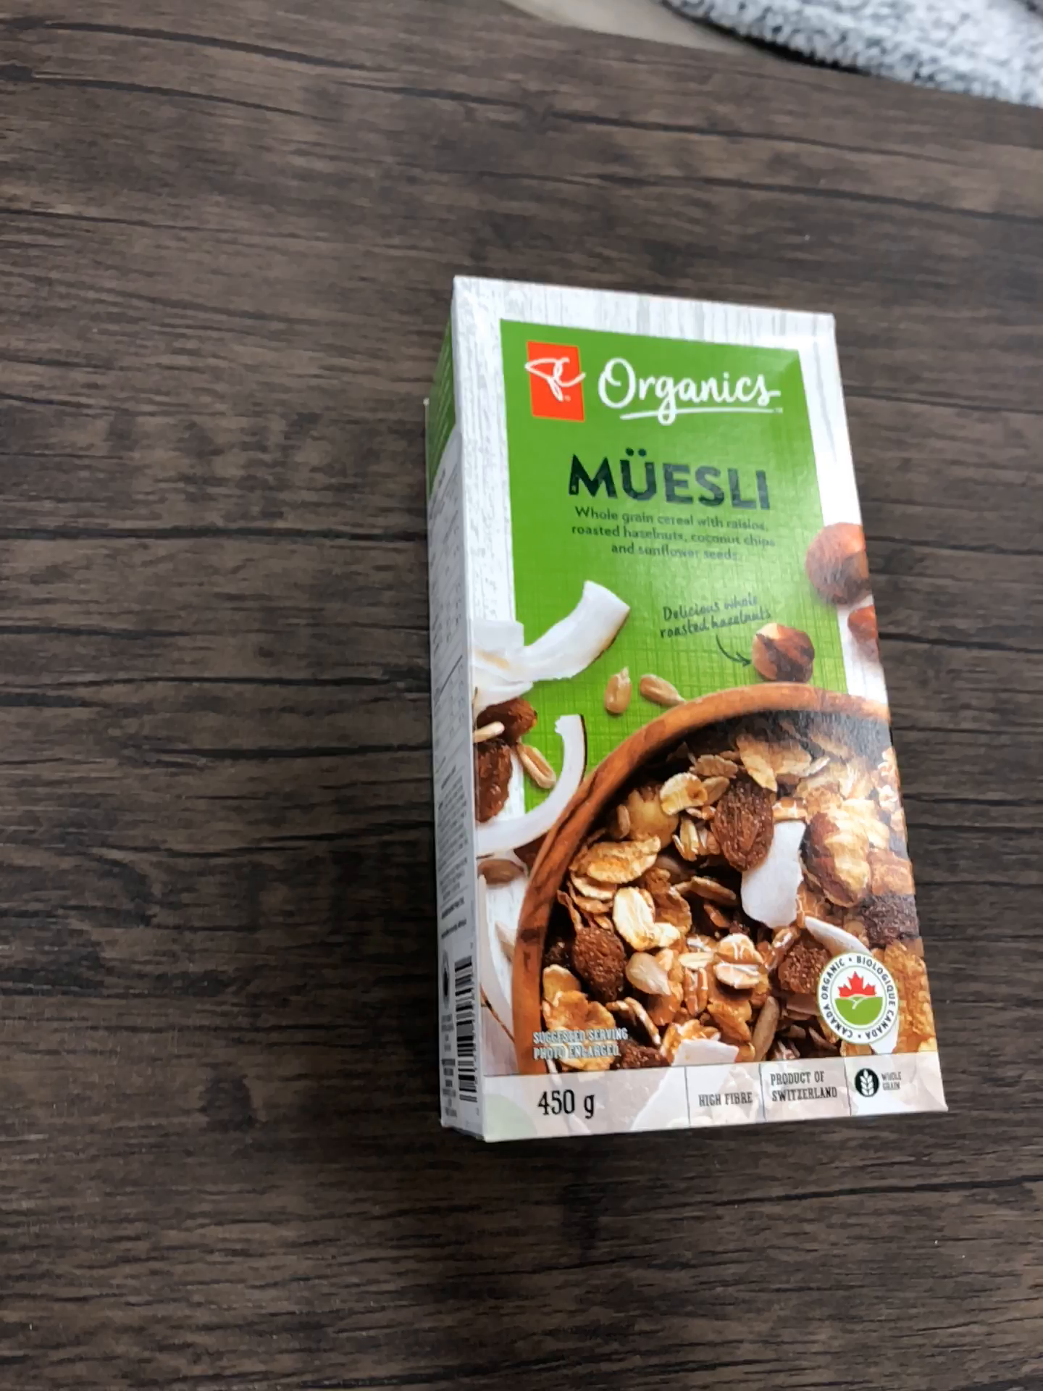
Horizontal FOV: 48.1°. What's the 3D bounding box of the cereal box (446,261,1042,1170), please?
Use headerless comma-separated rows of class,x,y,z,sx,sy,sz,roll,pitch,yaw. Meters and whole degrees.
cereal box,0.052,0.003,0.333,0.130,0.070,0.230,0,74,-13
